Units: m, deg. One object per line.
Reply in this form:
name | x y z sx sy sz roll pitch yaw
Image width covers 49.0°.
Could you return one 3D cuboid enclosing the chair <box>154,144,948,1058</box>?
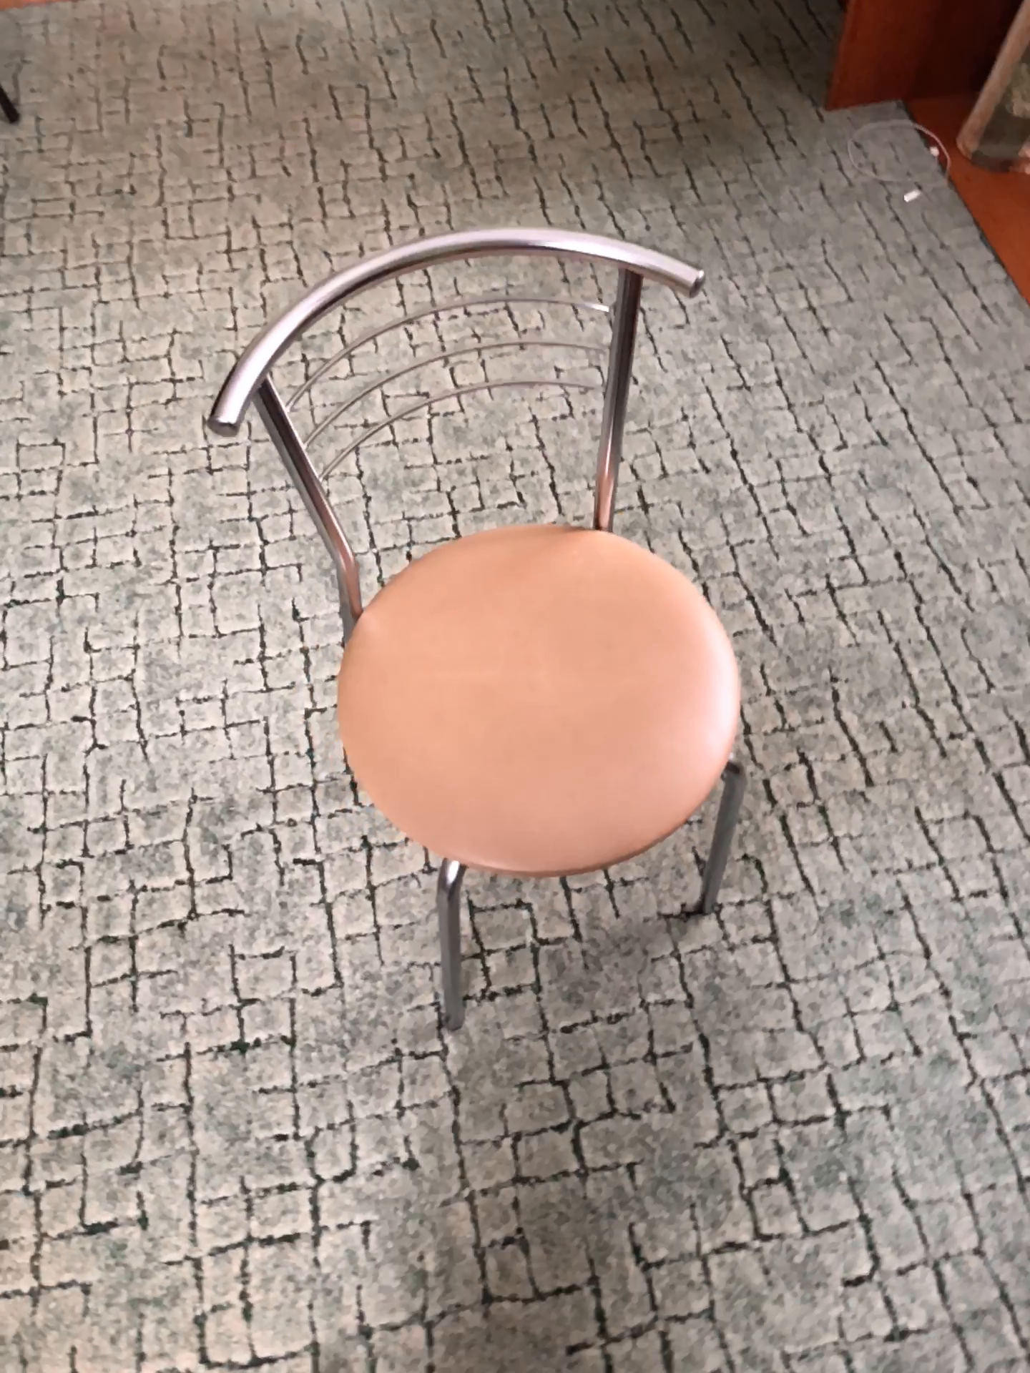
chair | 0.012 -0.014 1.182 0.443 0.804 0.452 -21 60 -11
